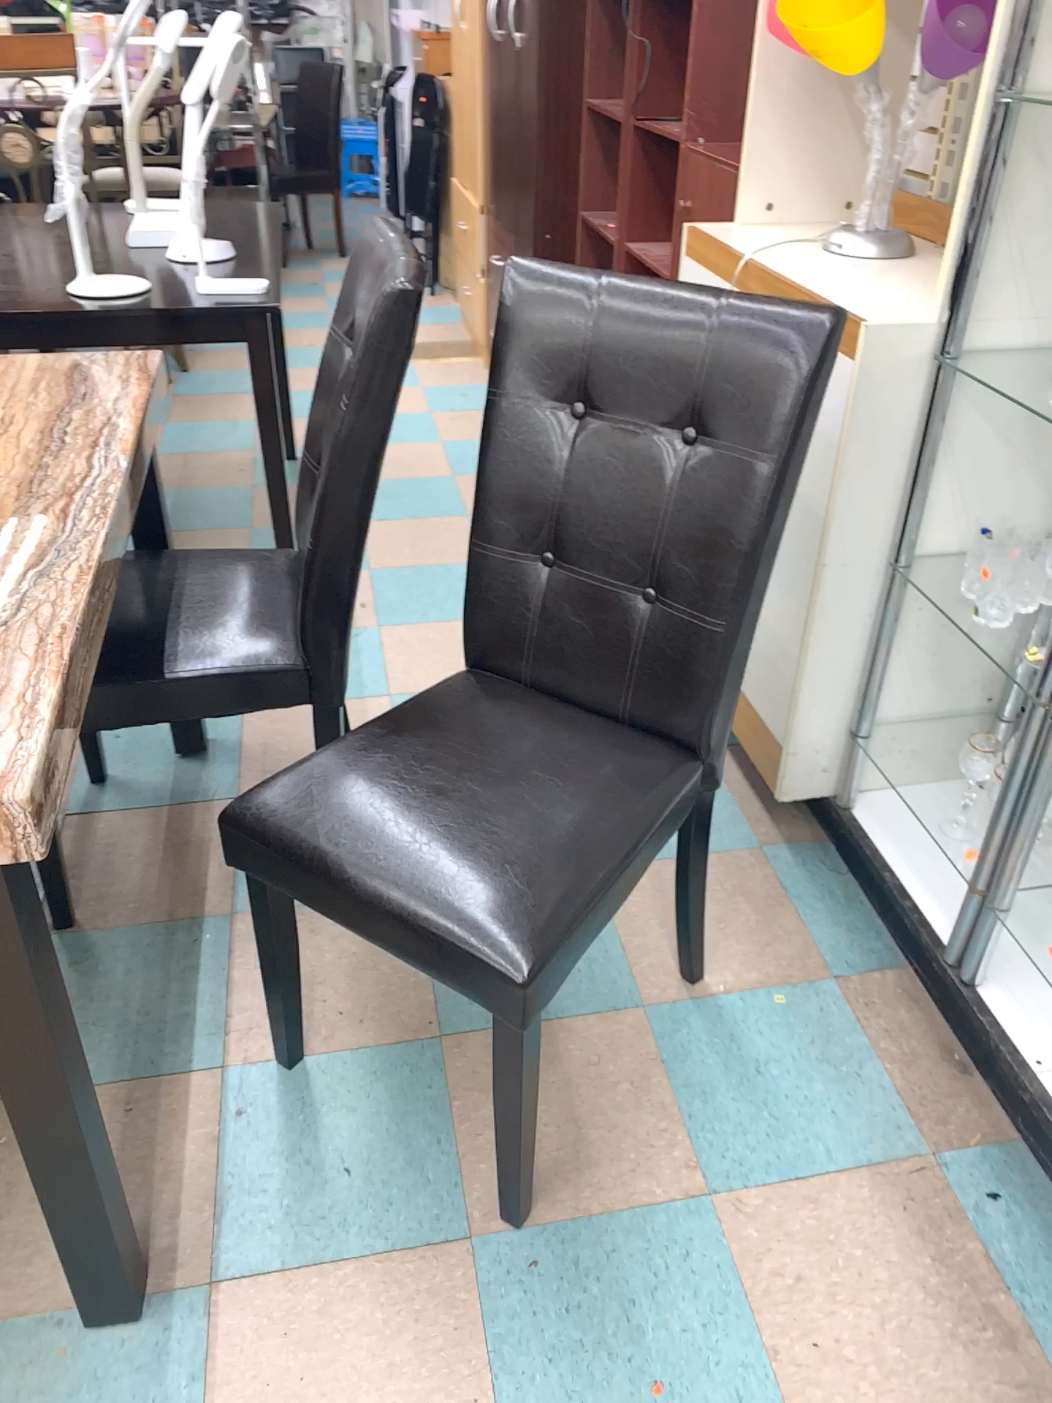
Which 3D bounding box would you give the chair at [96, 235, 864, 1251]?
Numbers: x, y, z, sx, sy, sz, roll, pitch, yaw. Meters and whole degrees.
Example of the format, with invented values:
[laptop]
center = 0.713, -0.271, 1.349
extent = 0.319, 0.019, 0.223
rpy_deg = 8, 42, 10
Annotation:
[chair]
center = -0.025, 0.028, 1.268
extent = 0.485, 0.949, 0.556
rpy_deg = 23, 39, 29
